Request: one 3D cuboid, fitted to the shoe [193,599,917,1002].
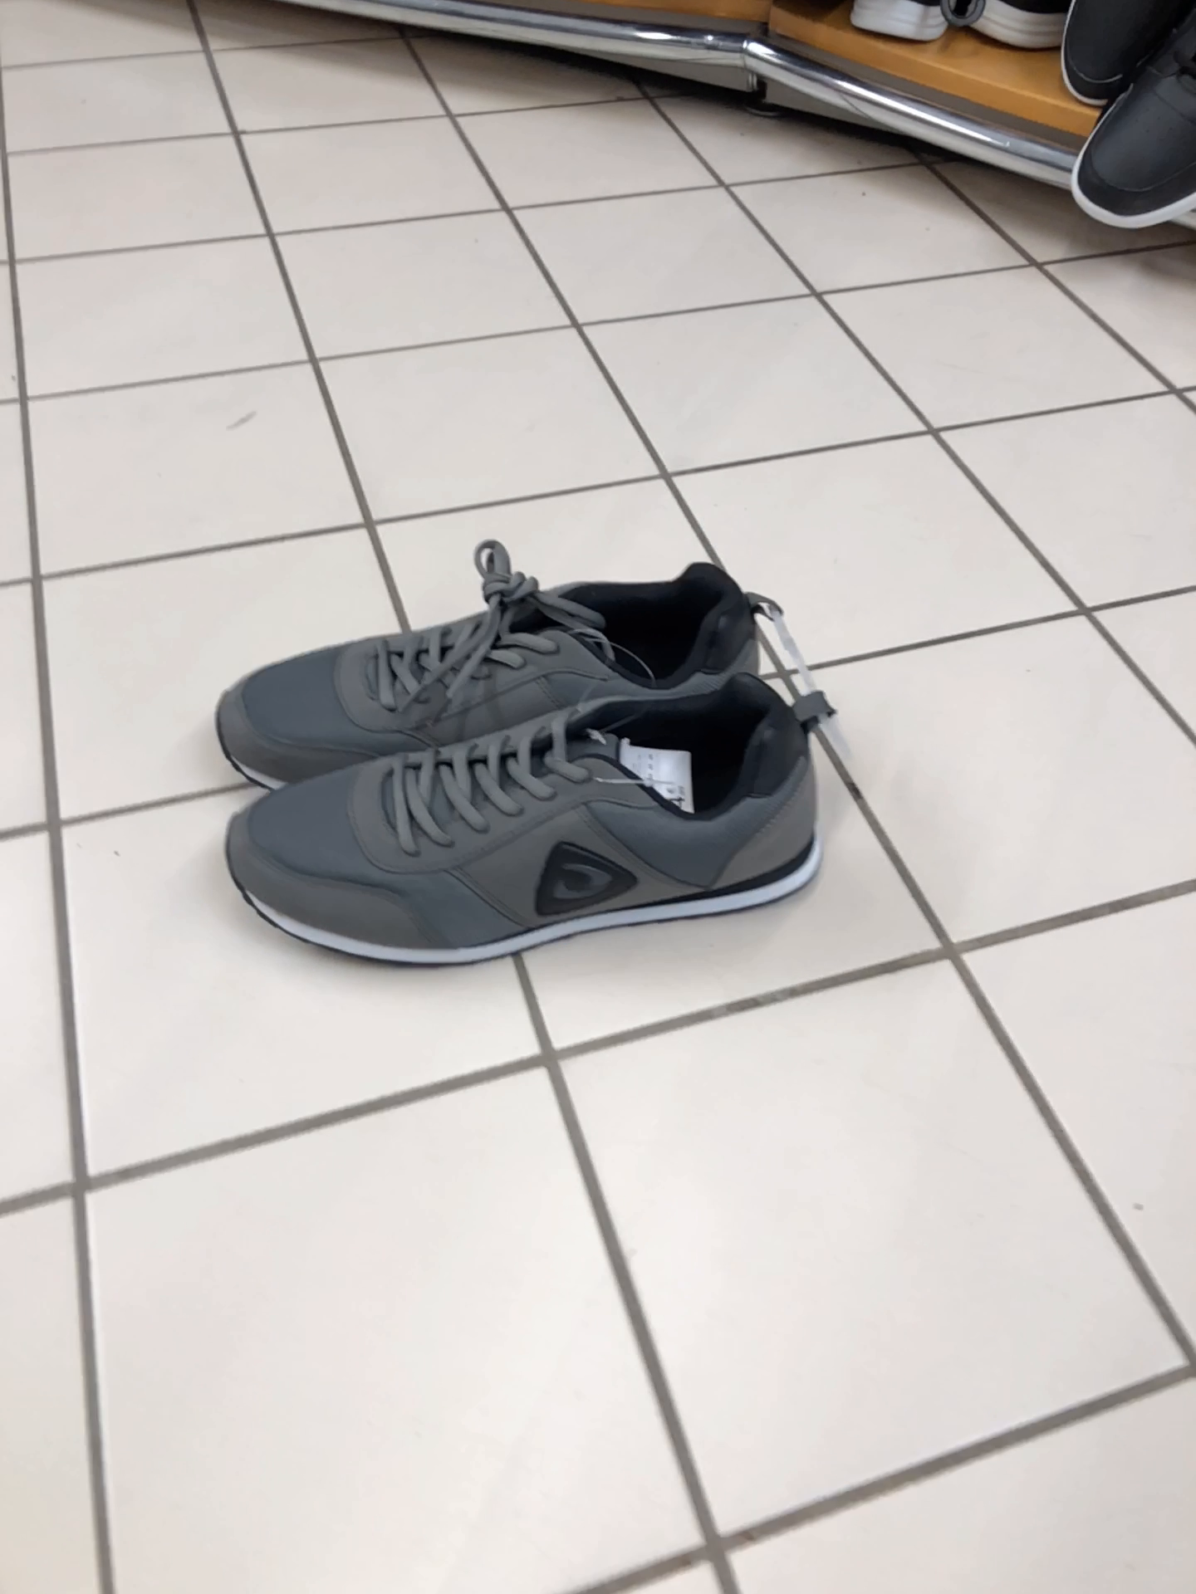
[{"bbox_3d":[-0.022,-0.002,0.588,0.290,0.099,0.100,-8,49,-10],"label":"shoe"}]

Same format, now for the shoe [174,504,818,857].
[{"bbox_3d":[-0.052,-0.061,0.656,0.290,0.099,0.100,-8,49,-10],"label":"shoe"}]
